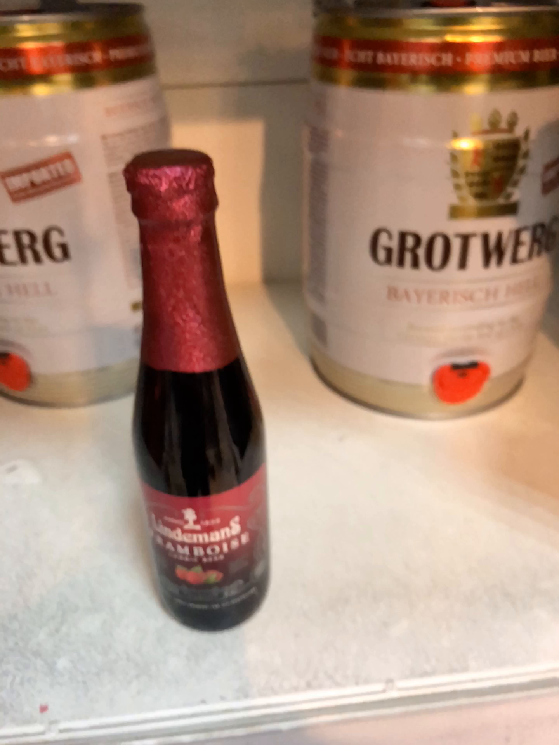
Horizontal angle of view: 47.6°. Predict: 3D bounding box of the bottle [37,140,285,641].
[{"bbox_3d":[-0.033,0.018,0.252,0.058,0.199,0.058,-1,33,1],"label":"bottle"}]
